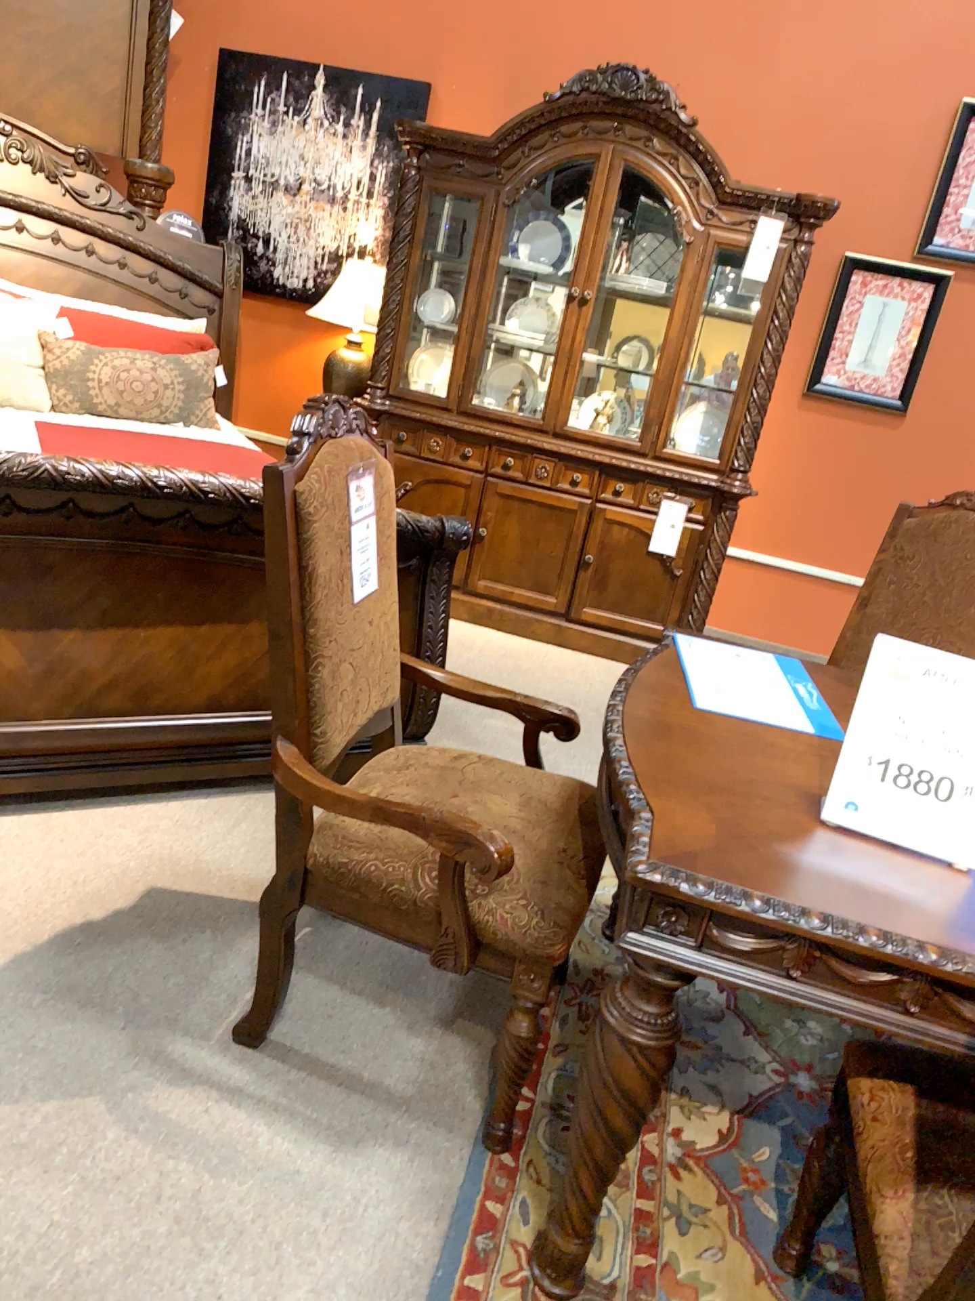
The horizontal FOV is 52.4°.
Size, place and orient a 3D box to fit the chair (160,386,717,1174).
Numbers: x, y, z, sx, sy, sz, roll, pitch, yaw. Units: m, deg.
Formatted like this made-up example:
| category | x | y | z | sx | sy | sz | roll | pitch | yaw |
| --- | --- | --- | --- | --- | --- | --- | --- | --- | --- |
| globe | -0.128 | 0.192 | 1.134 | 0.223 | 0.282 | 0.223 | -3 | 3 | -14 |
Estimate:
| category | x | y | z | sx | sy | sz | roll | pitch | yaw |
| --- | --- | --- | --- | --- | --- | --- | --- | --- | --- |
| chair | -0.083 | 0.174 | 1.790 | 0.669 | 1.124 | 0.585 | 16 | 19 | 11 |

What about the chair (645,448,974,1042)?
| category | x | y | z | sx | sy | sz | roll | pitch | yaw |
| --- | --- | --- | --- | --- | --- | --- | --- | --- | --- |
| chair | 0.970 | 0.190 | 2.414 | 0.670 | 1.184 | 0.605 | -2 | 23 | -34 |

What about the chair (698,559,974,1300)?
| category | x | y | z | sx | sy | sz | roll | pitch | yaw |
| --- | --- | --- | --- | --- | --- | --- | --- | --- | --- |
| chair | 0.681 | 0.573 | 1.076 | 0.563 | 1.134 | 0.621 | 16 | 20 | 12 |
